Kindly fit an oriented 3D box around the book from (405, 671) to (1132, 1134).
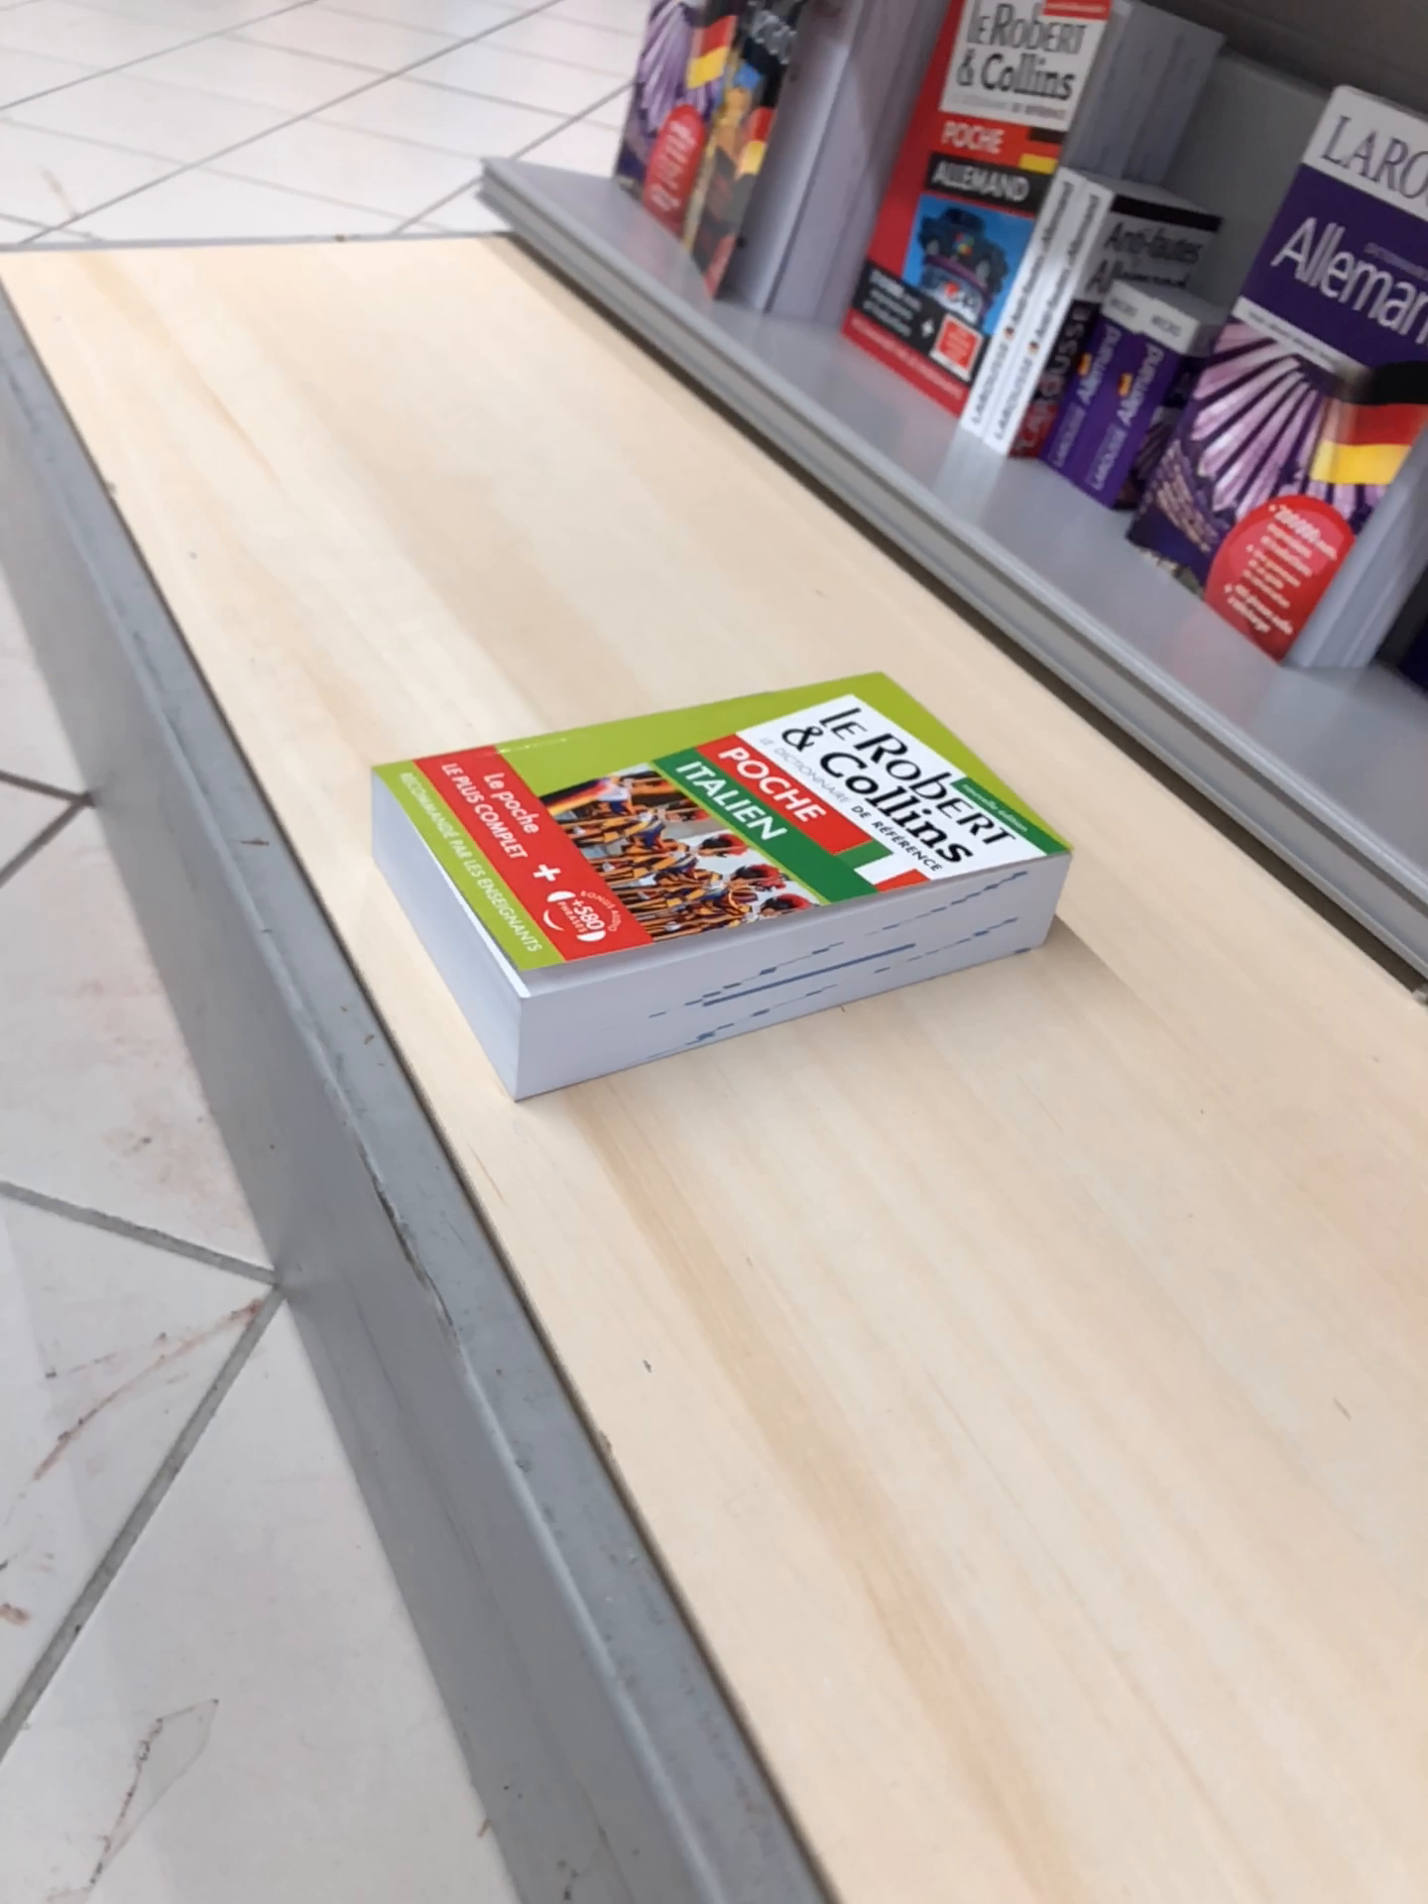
[{"bbox_3d":[0.014,-0.023,0.457,0.175,0.040,0.110,-14,46,-27],"label":"book"}]
